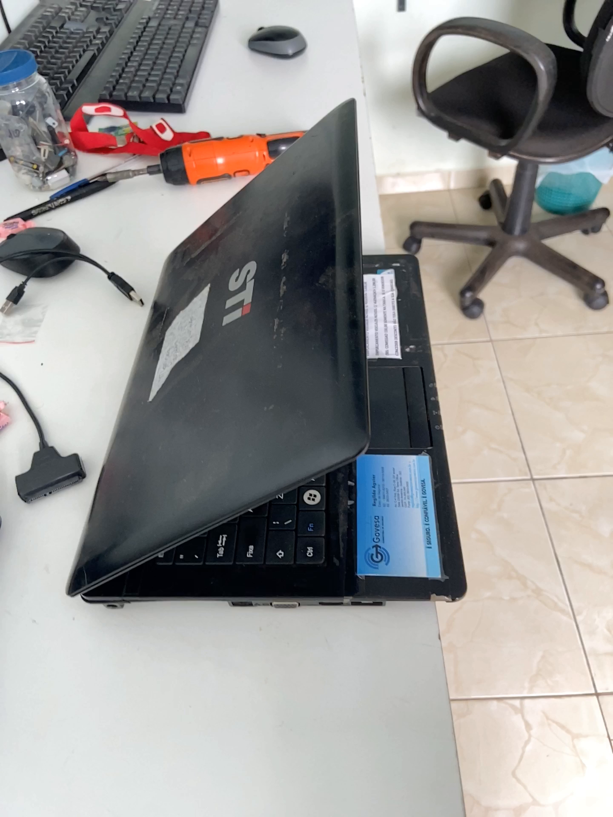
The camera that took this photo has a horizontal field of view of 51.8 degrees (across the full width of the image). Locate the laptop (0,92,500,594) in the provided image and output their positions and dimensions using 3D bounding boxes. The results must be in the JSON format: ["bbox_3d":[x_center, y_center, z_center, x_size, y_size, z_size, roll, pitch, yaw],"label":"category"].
[{"bbox_3d":[-0.021,-0.064,0.436,0.227,0.144,0.337,-2,49,5],"label":"laptop"}]
